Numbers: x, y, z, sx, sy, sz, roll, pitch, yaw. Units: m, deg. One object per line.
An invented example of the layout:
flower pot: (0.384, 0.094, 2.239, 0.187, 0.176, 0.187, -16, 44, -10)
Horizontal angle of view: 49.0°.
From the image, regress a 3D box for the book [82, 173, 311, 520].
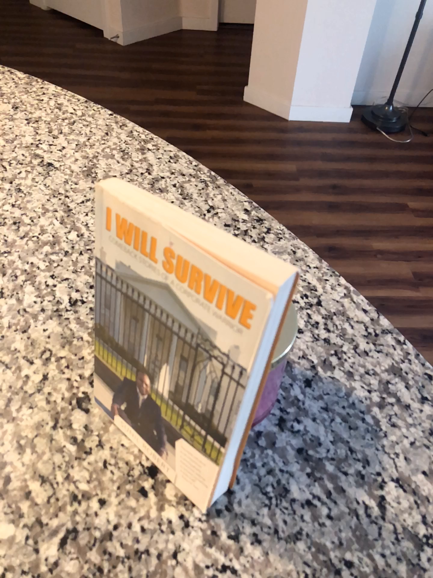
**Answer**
book: (-0.031, 0.043, 0.308, 0.134, 0.191, 0.032, 33, 41, 25)
